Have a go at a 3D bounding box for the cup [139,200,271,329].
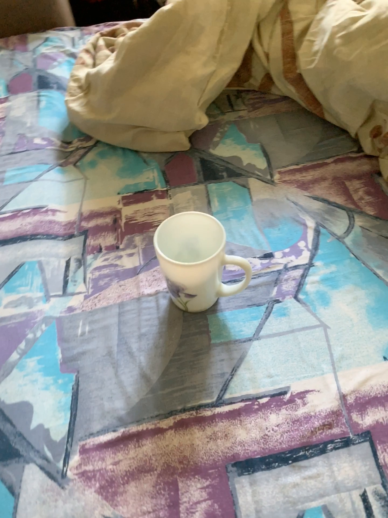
[{"bbox_3d":[0.016,0.006,0.454,0.120,0.099,0.081,13,53,15],"label":"cup"}]
